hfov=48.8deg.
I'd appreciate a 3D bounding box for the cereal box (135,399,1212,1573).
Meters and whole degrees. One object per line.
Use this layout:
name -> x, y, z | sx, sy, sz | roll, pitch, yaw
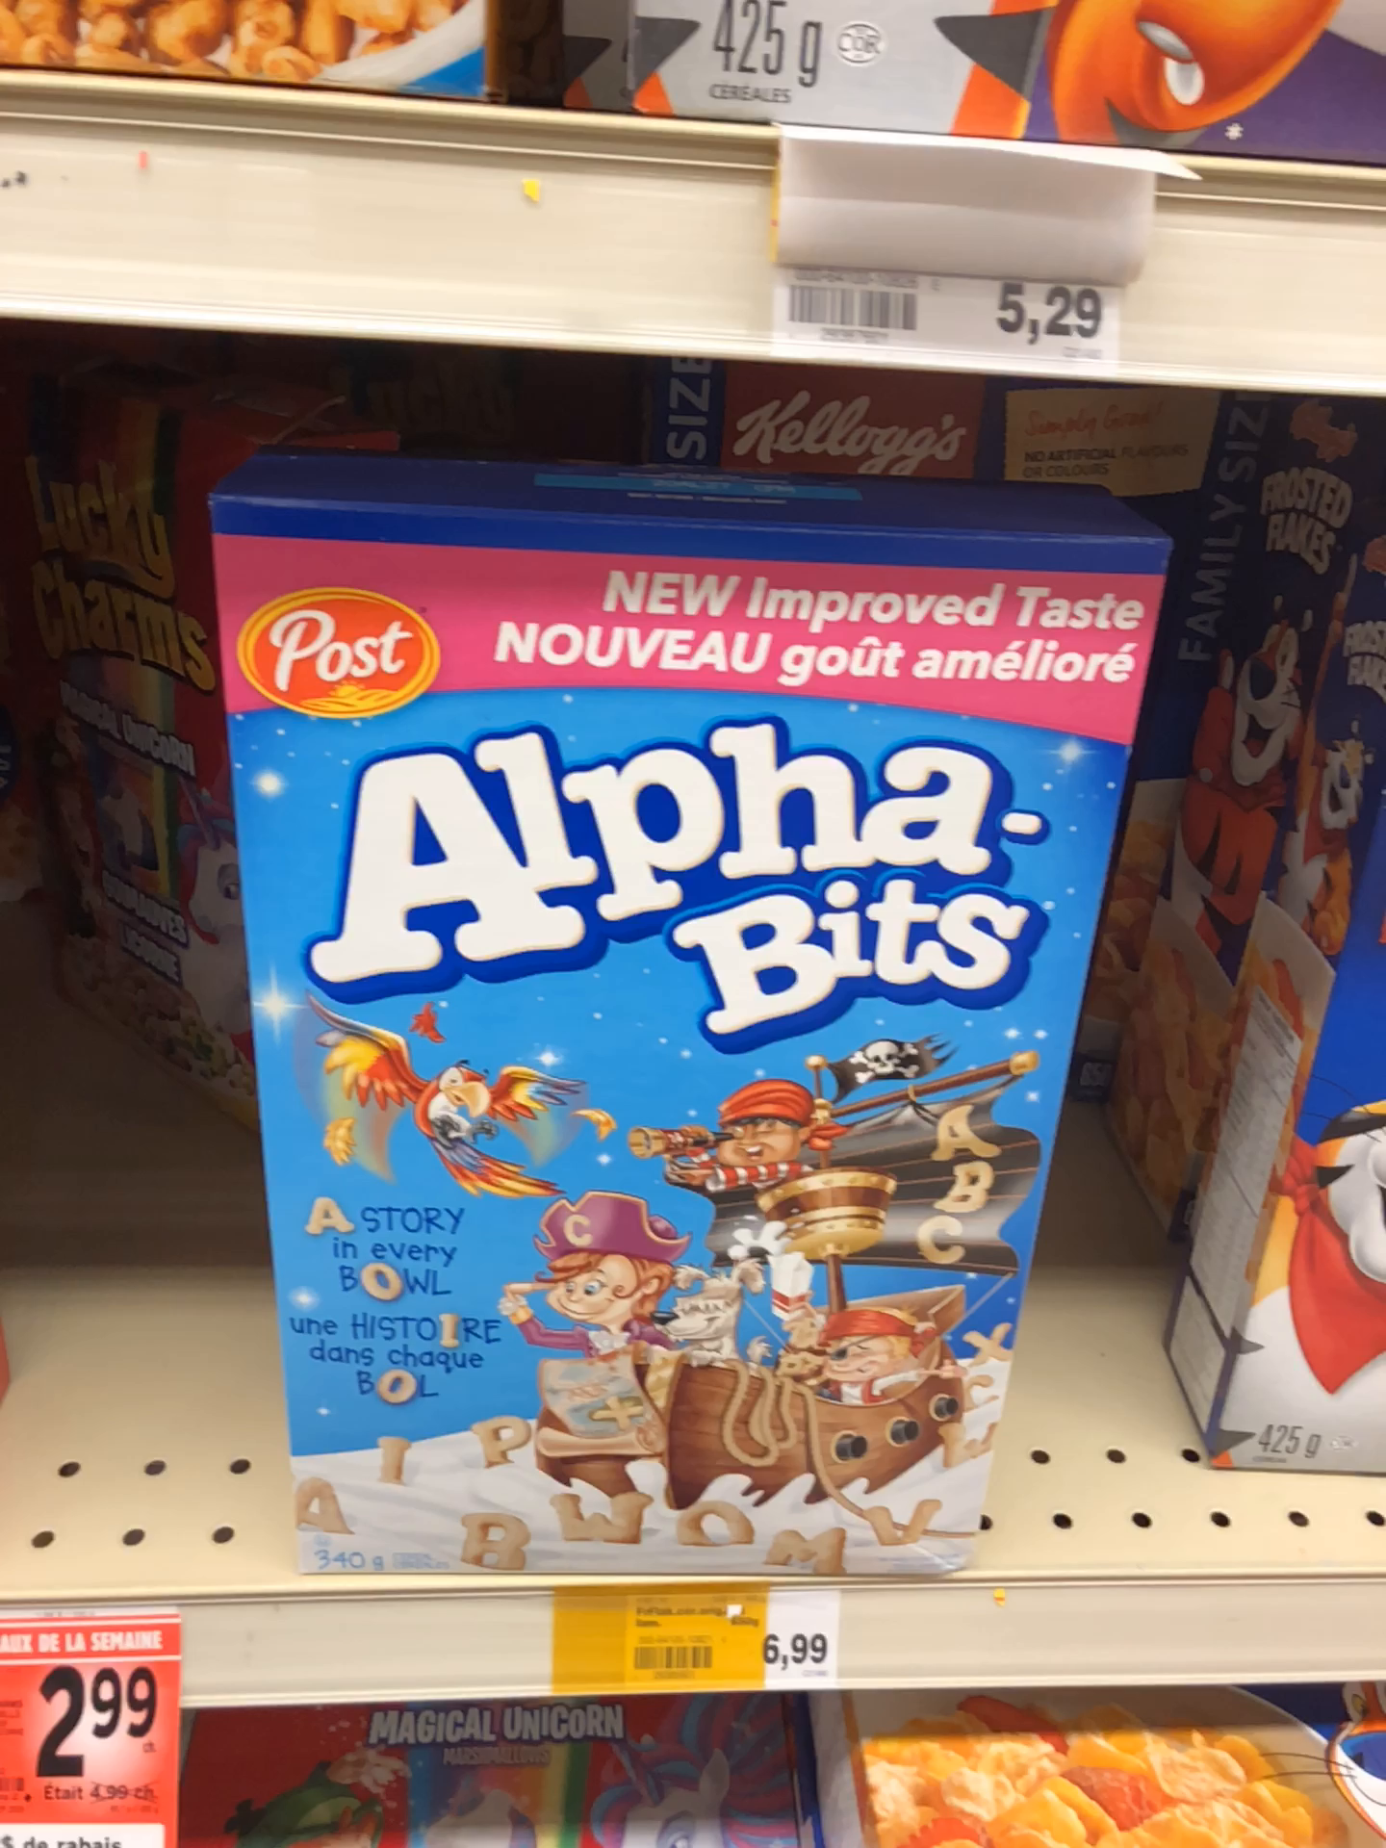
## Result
cereal box -> -0.012, 0.036, 0.381 | 0.200, 0.298, 0.060 | 2, 29, -4
